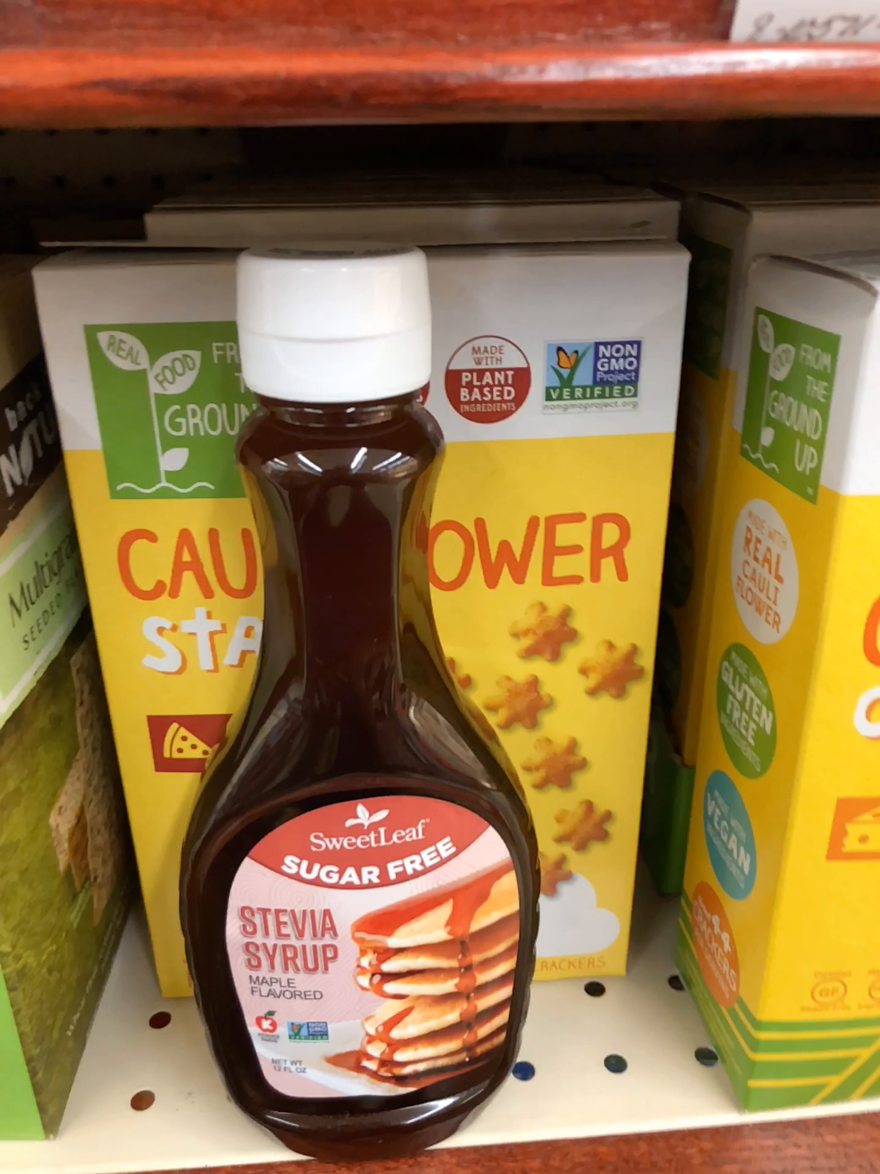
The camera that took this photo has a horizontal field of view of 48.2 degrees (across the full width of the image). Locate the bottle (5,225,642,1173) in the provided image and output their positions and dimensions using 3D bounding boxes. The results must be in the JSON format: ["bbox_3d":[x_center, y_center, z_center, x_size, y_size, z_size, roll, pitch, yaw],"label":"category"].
[{"bbox_3d":[-0.019,0.038,0.212,0.092,0.211,0.051,-5,27,-9],"label":"bottle"}]
